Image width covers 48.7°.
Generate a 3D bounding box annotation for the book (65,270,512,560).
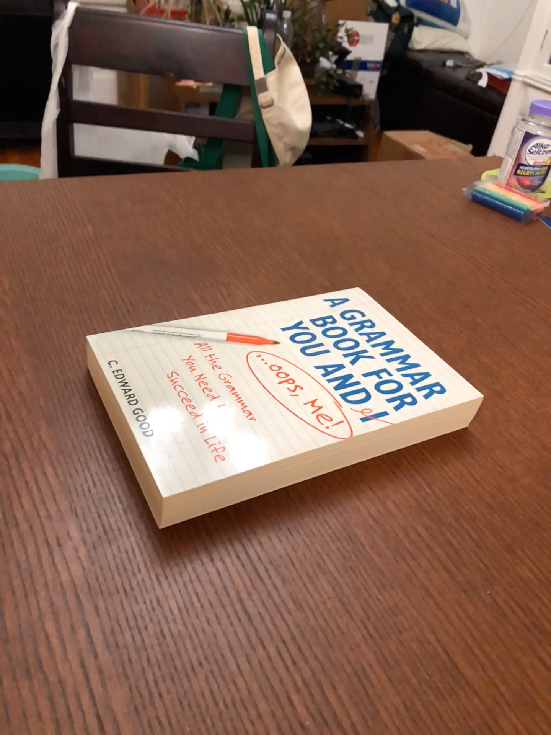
[{"bbox_3d":[0.004,0.008,0.406,0.240,0.040,0.171,-13,42,-26],"label":"book"}]
